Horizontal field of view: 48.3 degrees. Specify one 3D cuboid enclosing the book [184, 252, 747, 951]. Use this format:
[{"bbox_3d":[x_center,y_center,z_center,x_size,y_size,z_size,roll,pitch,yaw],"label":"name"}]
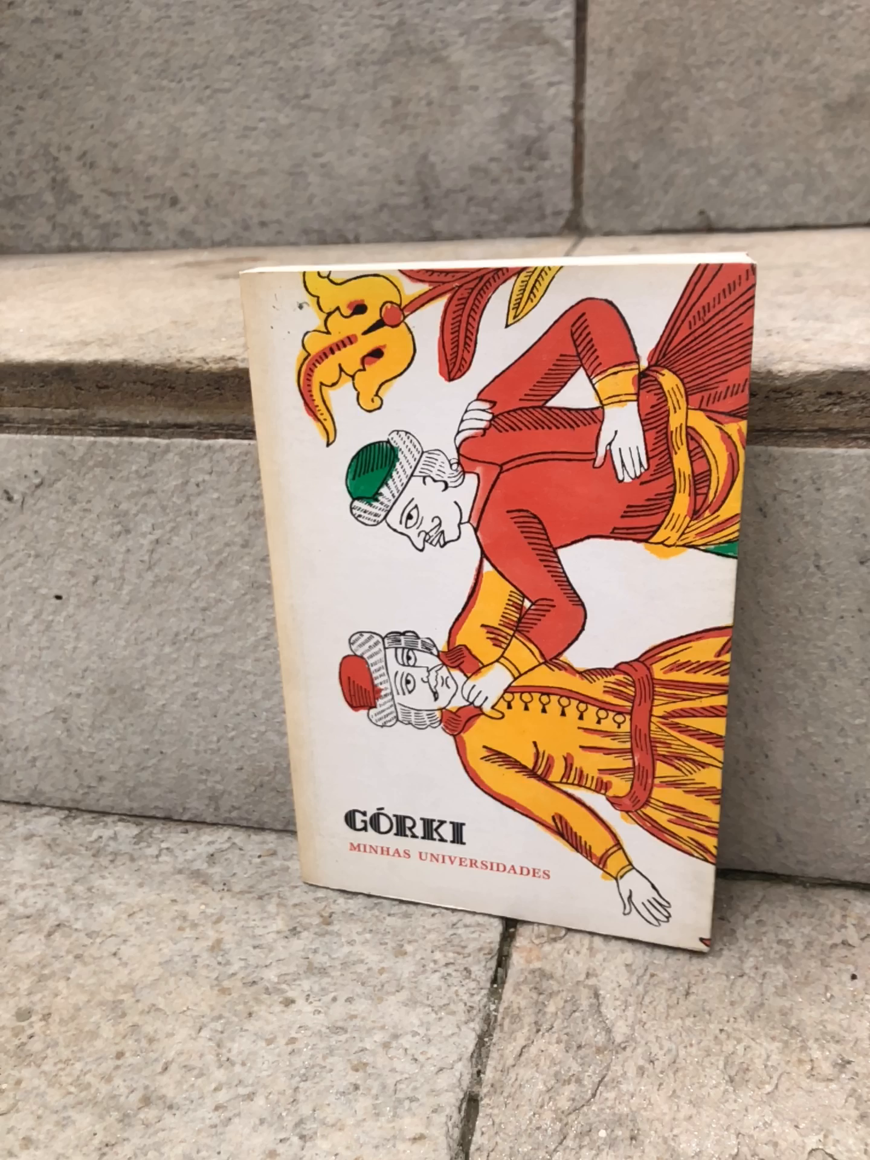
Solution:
[{"bbox_3d":[0.010,0.008,0.280,0.141,0.189,0.030,4,20,17],"label":"book"}]
